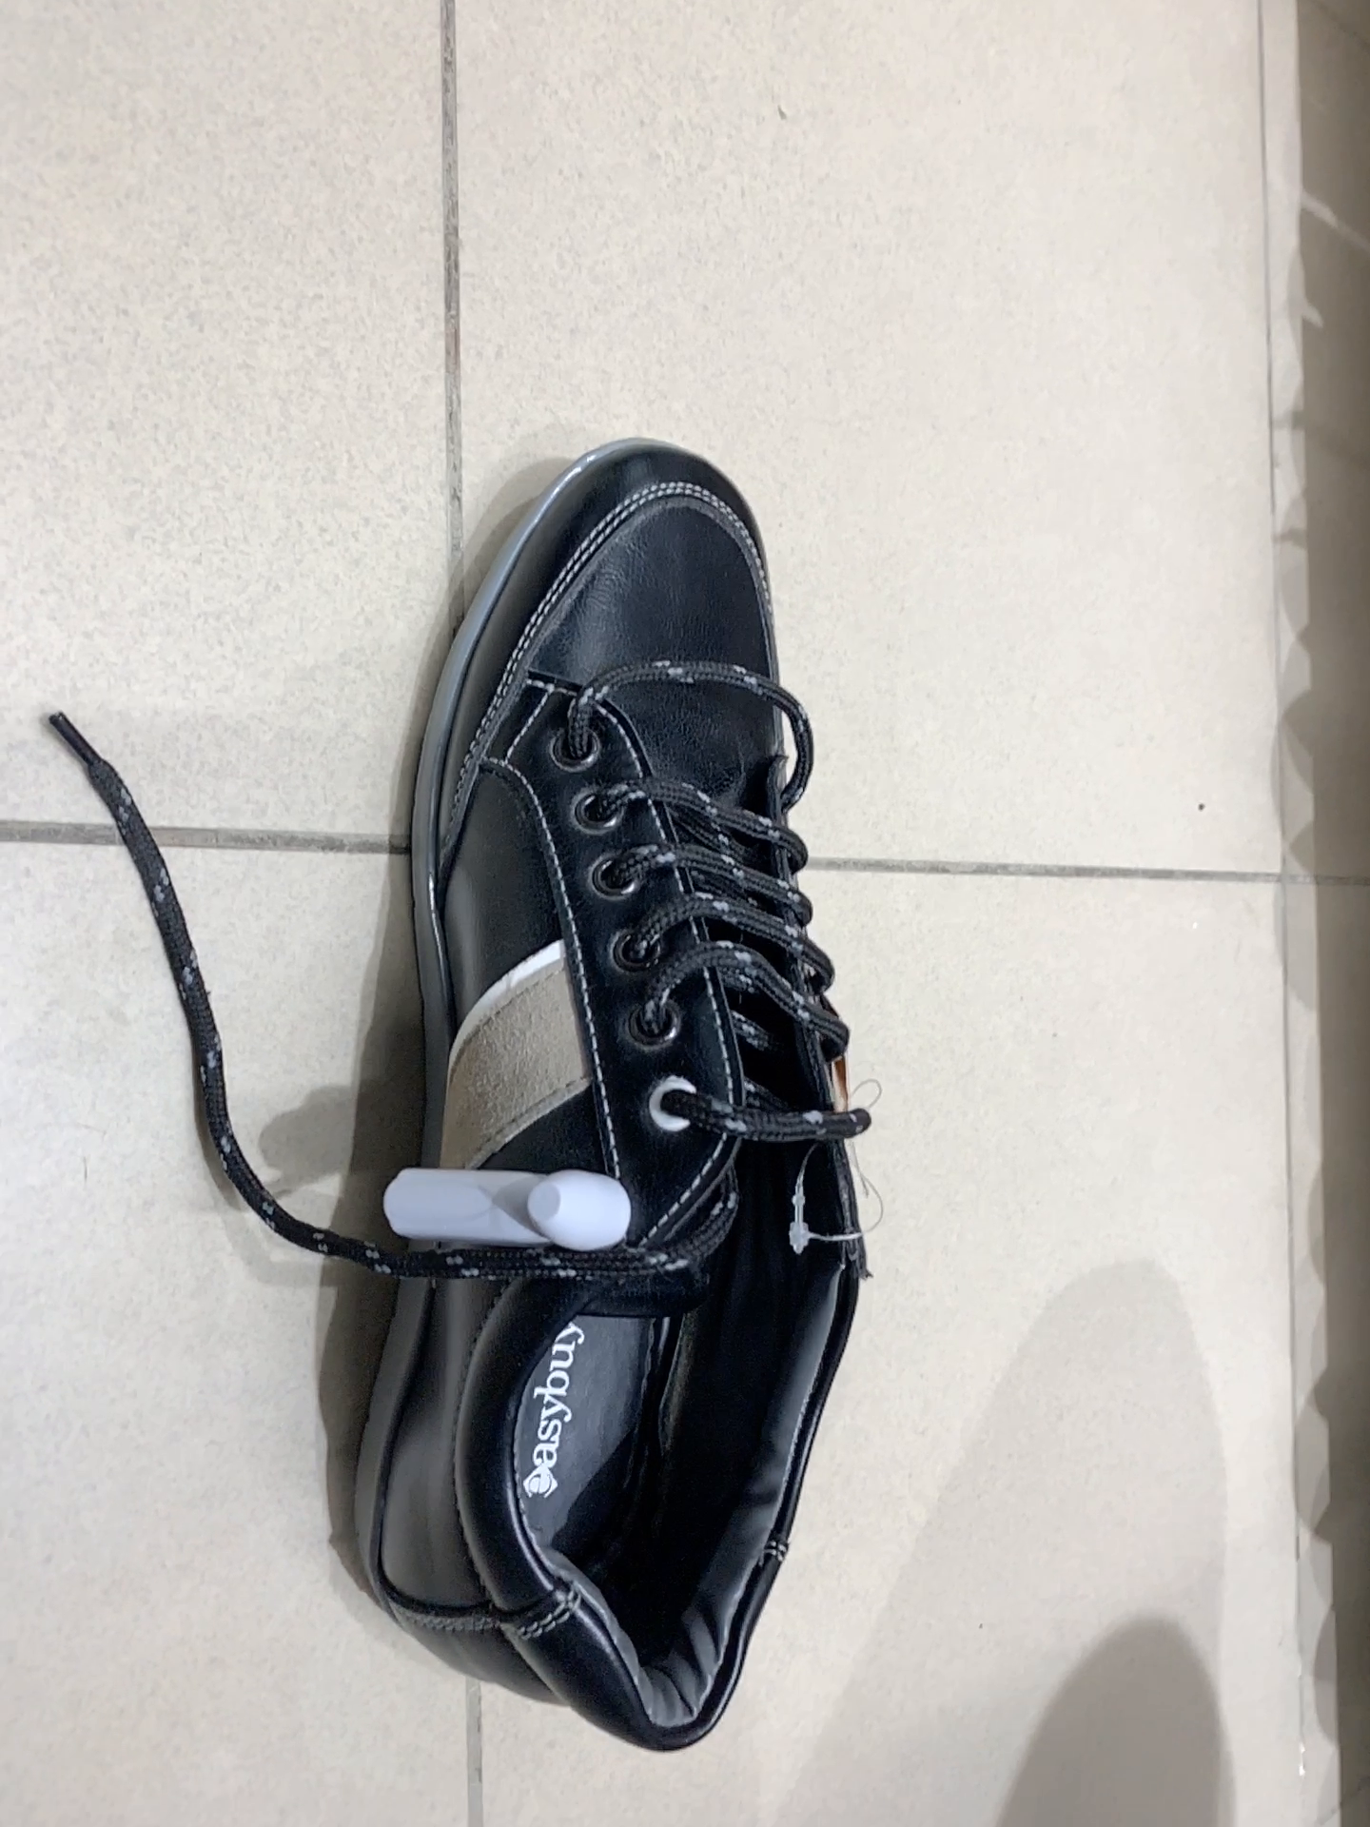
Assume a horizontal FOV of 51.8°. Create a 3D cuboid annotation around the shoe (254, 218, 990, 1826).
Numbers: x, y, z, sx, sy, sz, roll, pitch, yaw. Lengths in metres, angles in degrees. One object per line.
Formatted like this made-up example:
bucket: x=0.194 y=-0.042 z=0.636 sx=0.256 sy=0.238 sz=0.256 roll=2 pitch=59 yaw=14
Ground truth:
shoe: x=-0.010 y=0.023 z=0.320 sx=0.101 sy=0.090 sz=0.300 roll=12 pitch=81 yaw=-39
